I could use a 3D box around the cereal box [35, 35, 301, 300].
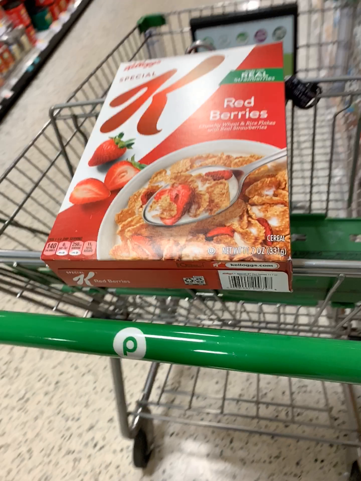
[{"bbox_3d":[0.008,-0.089,0.377,0.200,0.059,0.292,-1,54,14],"label":"cereal box"}]
